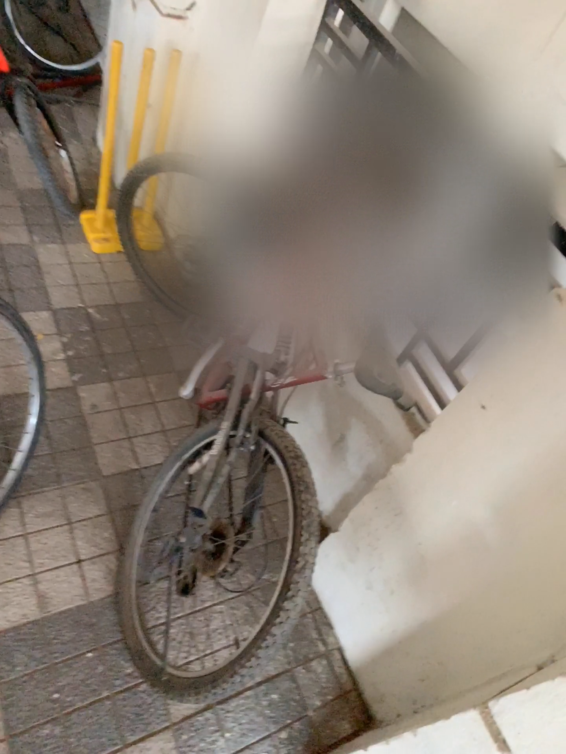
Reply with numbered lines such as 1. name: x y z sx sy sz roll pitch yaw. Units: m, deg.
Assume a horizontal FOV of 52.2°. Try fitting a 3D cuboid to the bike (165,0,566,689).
1. bike: 0.124 -0.148 1.538 0.610 0.831 1.466 1 60 -24
